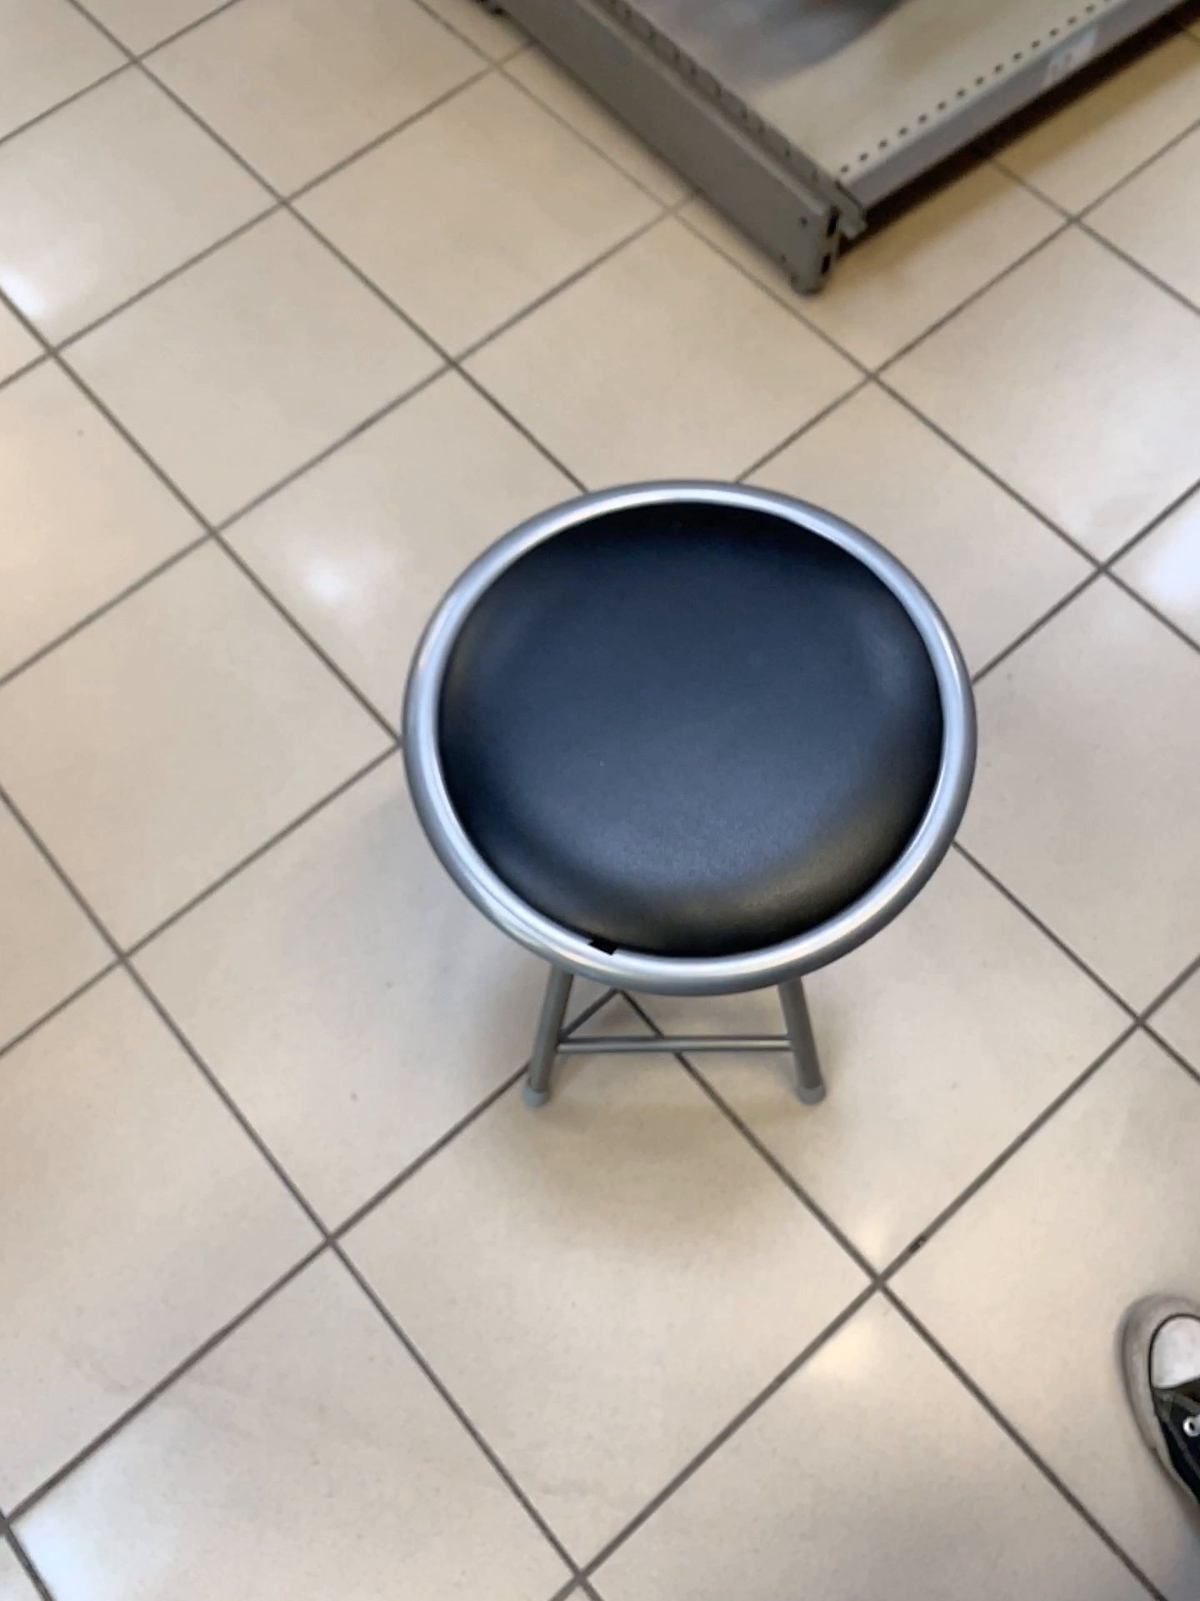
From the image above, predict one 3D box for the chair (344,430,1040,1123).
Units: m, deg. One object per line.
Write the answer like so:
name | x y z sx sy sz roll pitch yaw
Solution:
chair | 0.052 0.020 0.833 0.328 0.403 0.335 0 69 3
